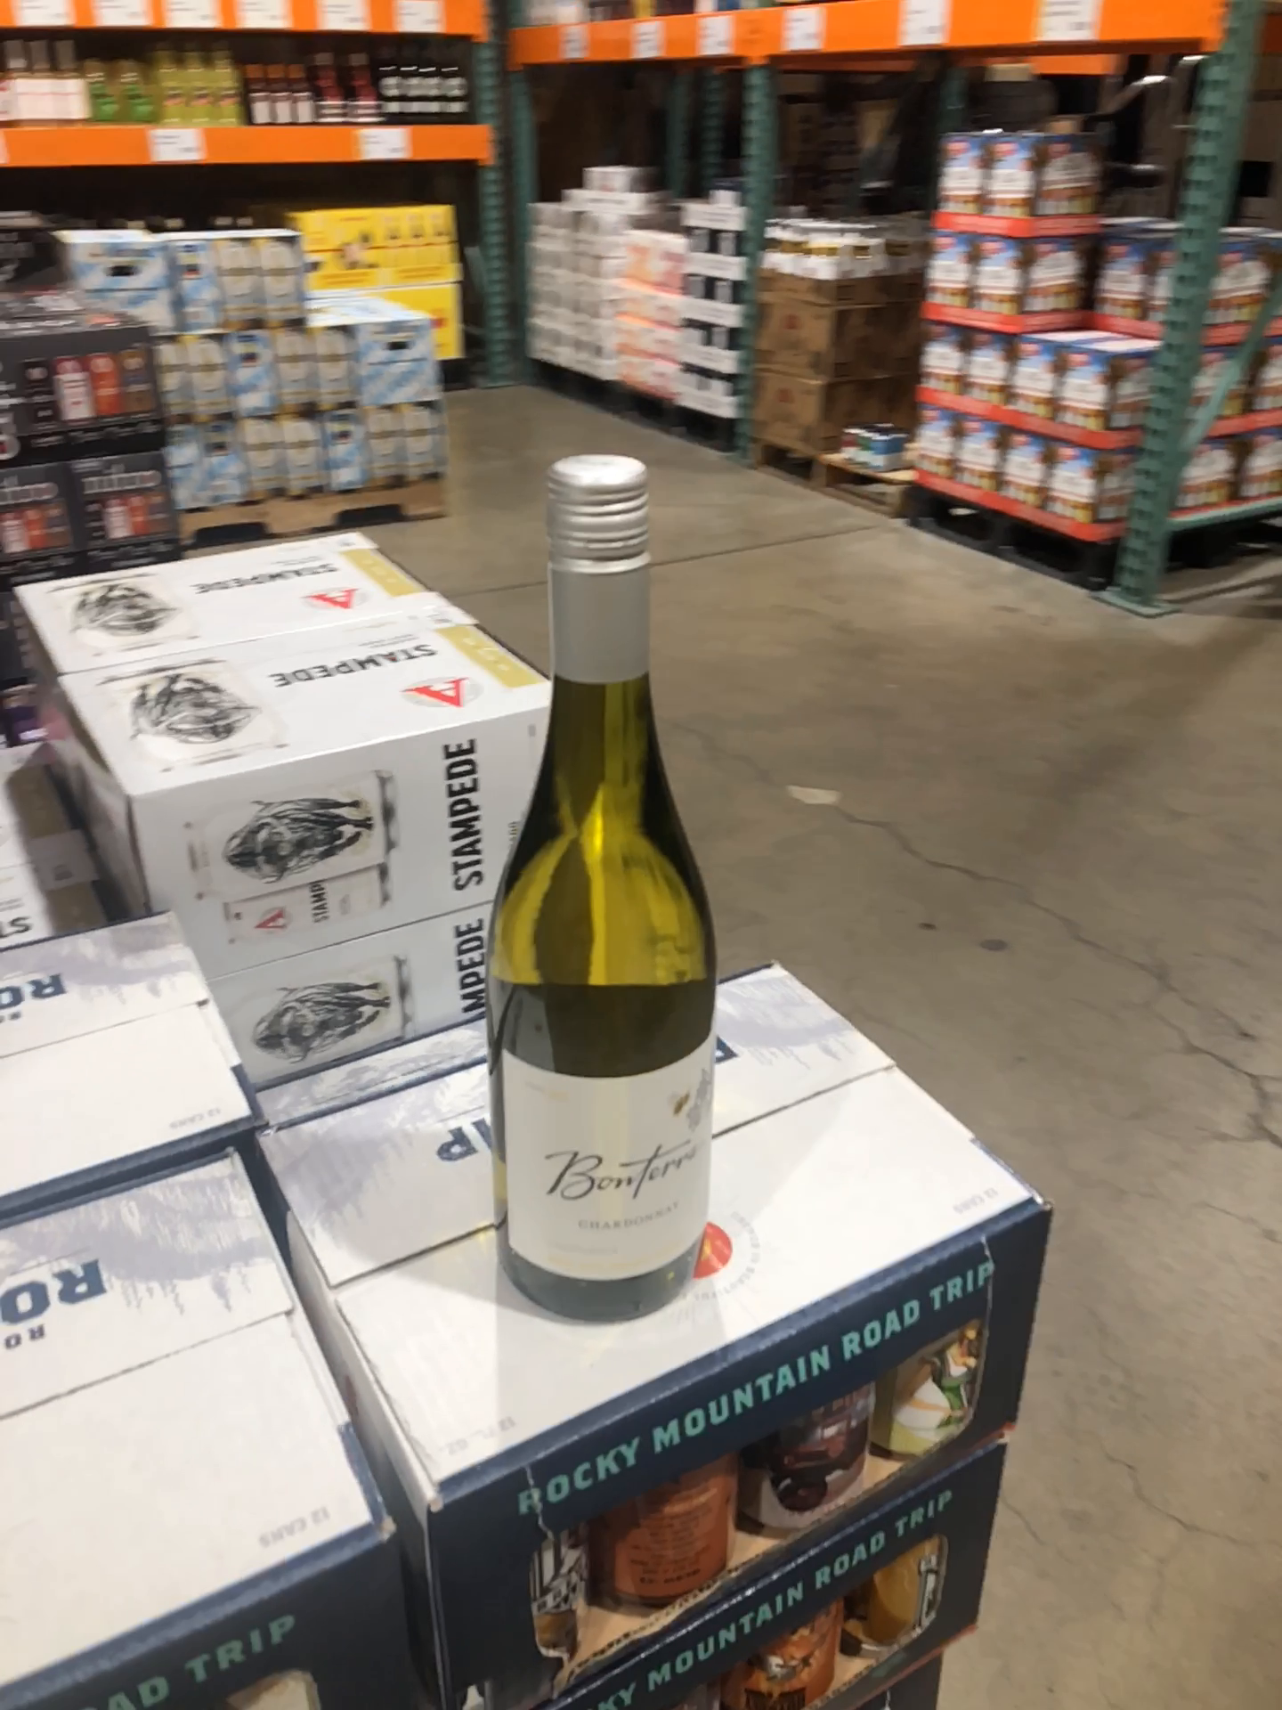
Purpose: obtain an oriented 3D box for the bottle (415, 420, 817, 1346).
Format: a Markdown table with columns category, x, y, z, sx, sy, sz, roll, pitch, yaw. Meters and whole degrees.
| category | x | y | z | sx | sy | sz | roll | pitch | yaw |
| --- | --- | --- | --- | --- | --- | --- | --- | --- | --- |
| bottle | -0.010 | 0.015 | 0.459 | 0.090 | 0.284 | 0.084 | 0 | 28 | 0 |
